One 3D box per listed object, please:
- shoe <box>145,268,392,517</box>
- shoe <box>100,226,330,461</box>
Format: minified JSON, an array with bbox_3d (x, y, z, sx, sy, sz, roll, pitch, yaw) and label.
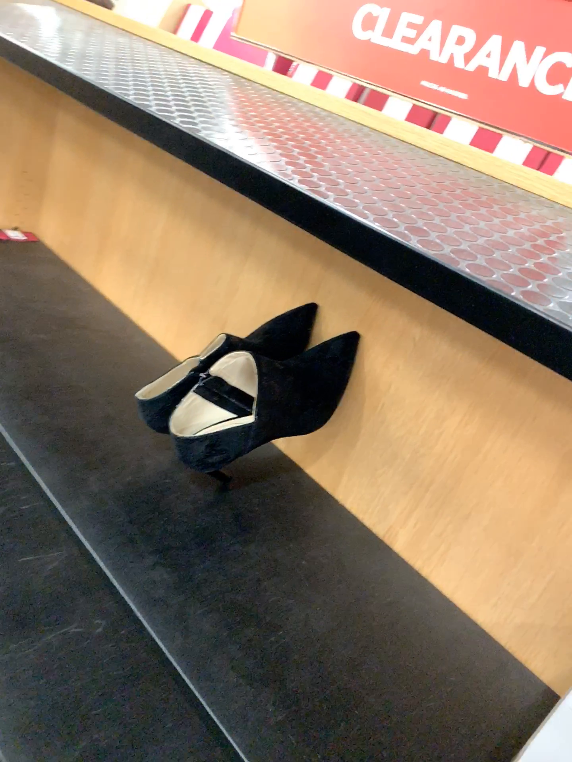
[{"bbox_3d":[-0.016,0.011,0.735,0.111,0.281,0.120,35,-14,42],"label":"shoe"},{"bbox_3d":[-0.083,-0.049,0.777,0.101,0.271,0.140,37,-13,31],"label":"shoe"}]
